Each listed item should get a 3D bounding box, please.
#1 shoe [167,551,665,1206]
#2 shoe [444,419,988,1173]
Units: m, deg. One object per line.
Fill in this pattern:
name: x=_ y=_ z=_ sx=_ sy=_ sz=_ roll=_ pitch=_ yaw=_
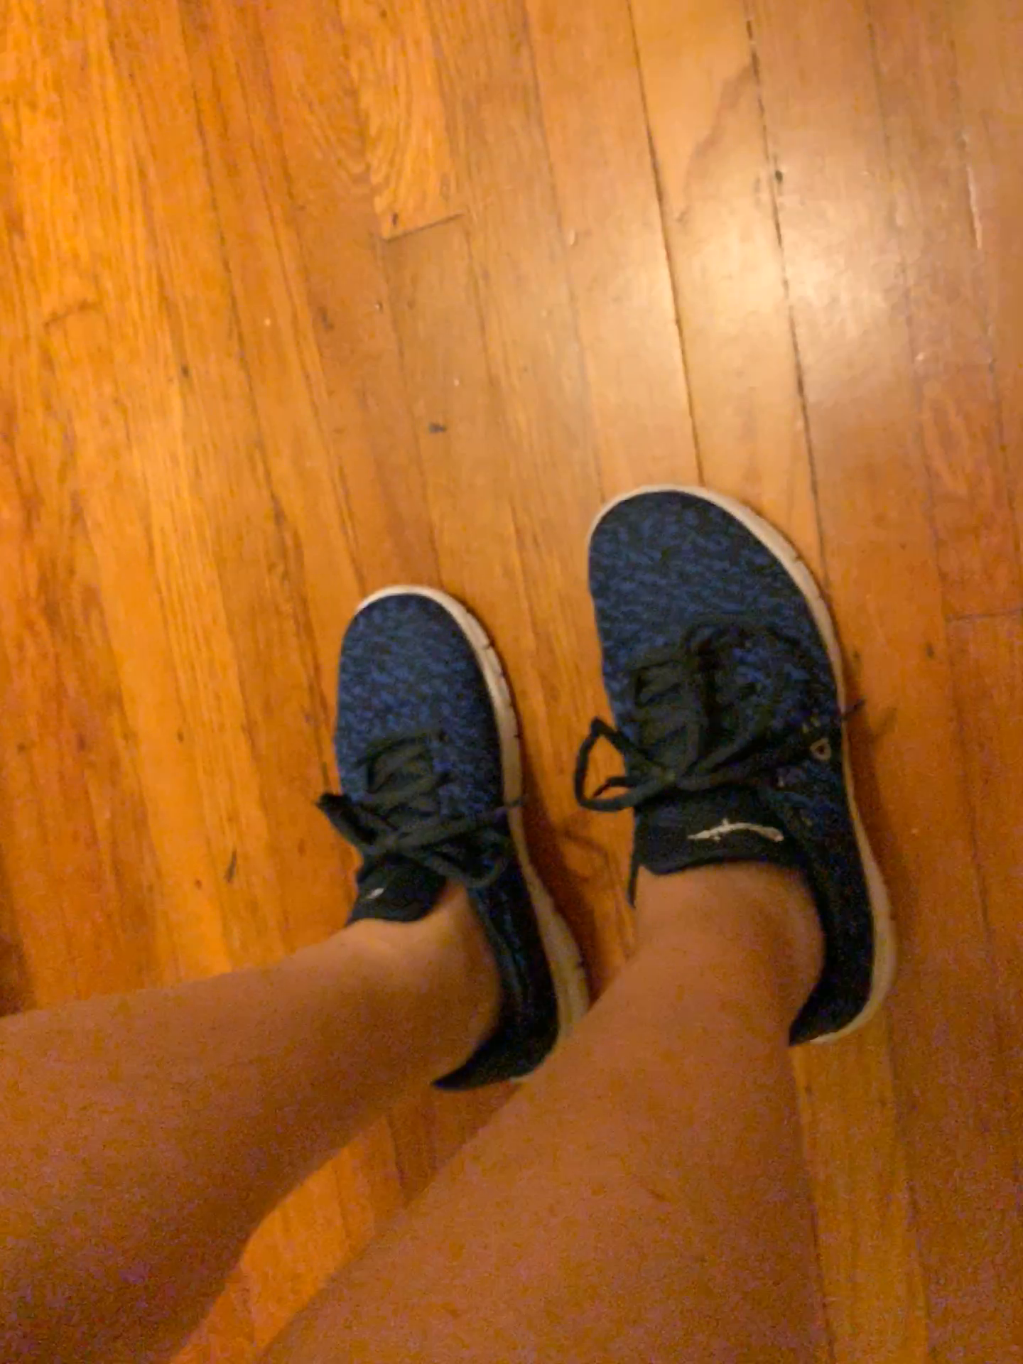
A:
shoe: x=-0.041 y=0.092 z=0.559 sx=0.116 sy=0.149 sz=0.290 roll=-18 pitch=91 yaw=27
shoe: x=0.098 y=0.044 z=0.472 sx=0.118 sy=0.129 sz=0.280 roll=-21 pitch=89 yaw=27
